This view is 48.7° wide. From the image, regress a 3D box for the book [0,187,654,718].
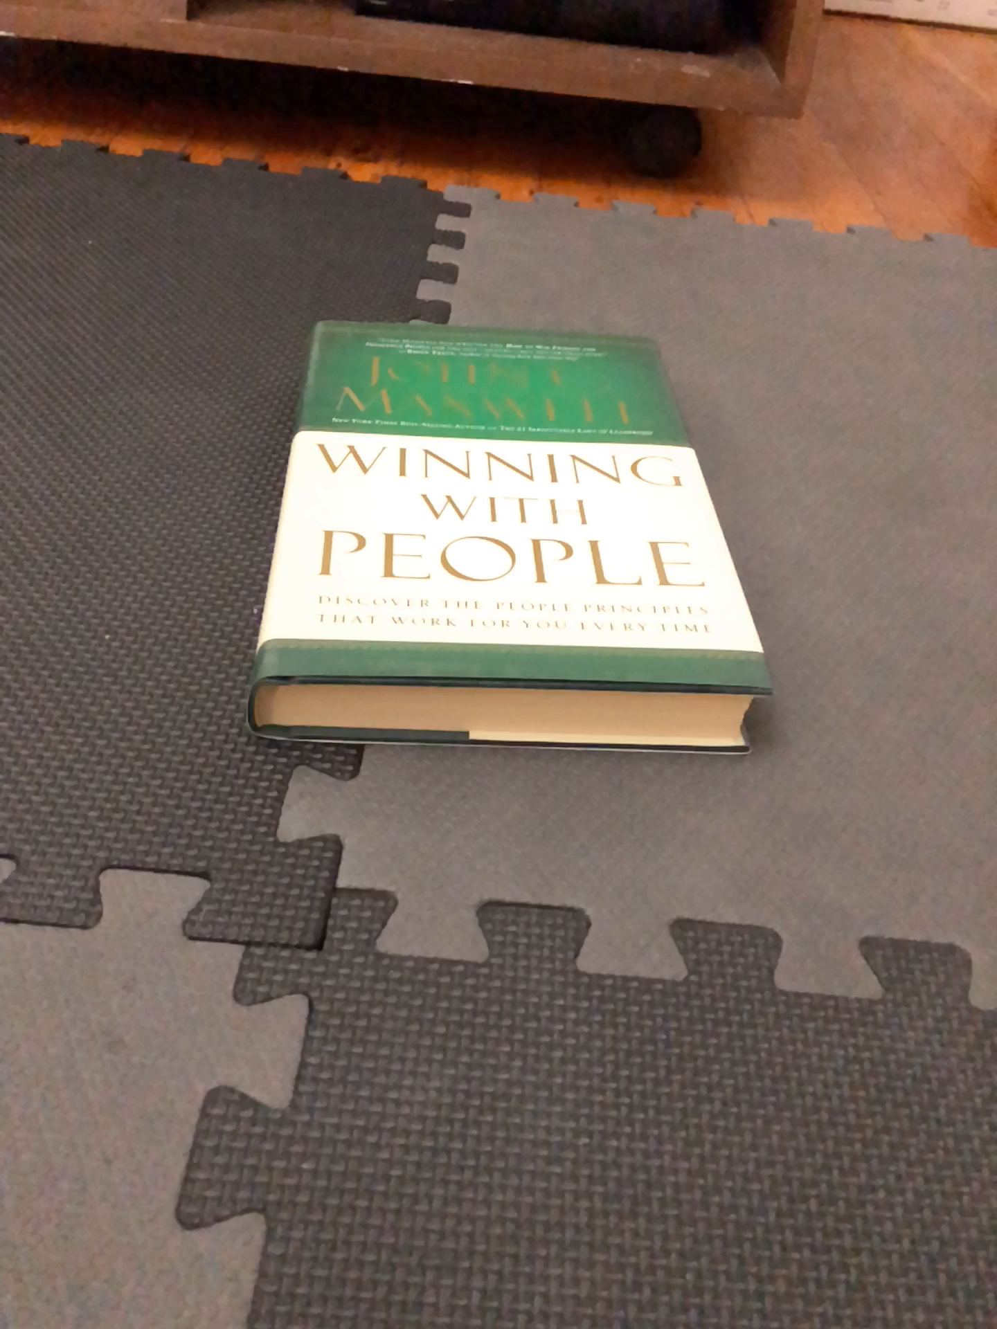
[{"bbox_3d":[-0.064,-0.098,0.389,0.200,0.030,0.292,3,41,-4],"label":"book"}]
